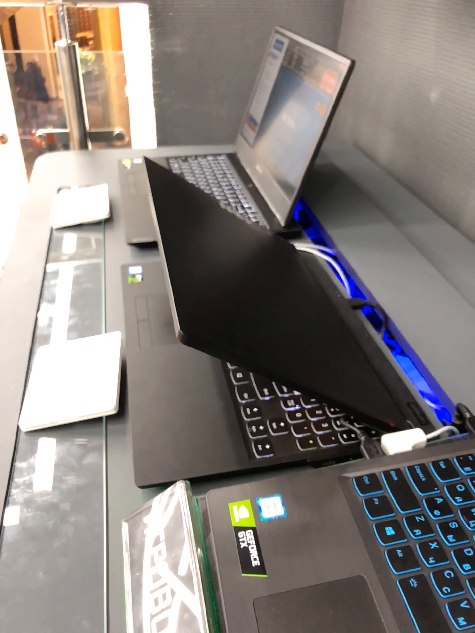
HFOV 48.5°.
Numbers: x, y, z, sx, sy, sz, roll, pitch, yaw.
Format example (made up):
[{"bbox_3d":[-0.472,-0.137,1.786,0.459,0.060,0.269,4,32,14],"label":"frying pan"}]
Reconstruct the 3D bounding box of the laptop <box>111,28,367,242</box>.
[{"bbox_3d":[-0.034,-0.317,0.862,0.307,0.231,0.366,-6,35,-8],"label":"laptop"}]

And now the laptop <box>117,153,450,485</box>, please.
[{"bbox_3d":[0.003,-0.036,0.536,0.227,0.136,0.355,-6,35,-10],"label":"laptop"}]
